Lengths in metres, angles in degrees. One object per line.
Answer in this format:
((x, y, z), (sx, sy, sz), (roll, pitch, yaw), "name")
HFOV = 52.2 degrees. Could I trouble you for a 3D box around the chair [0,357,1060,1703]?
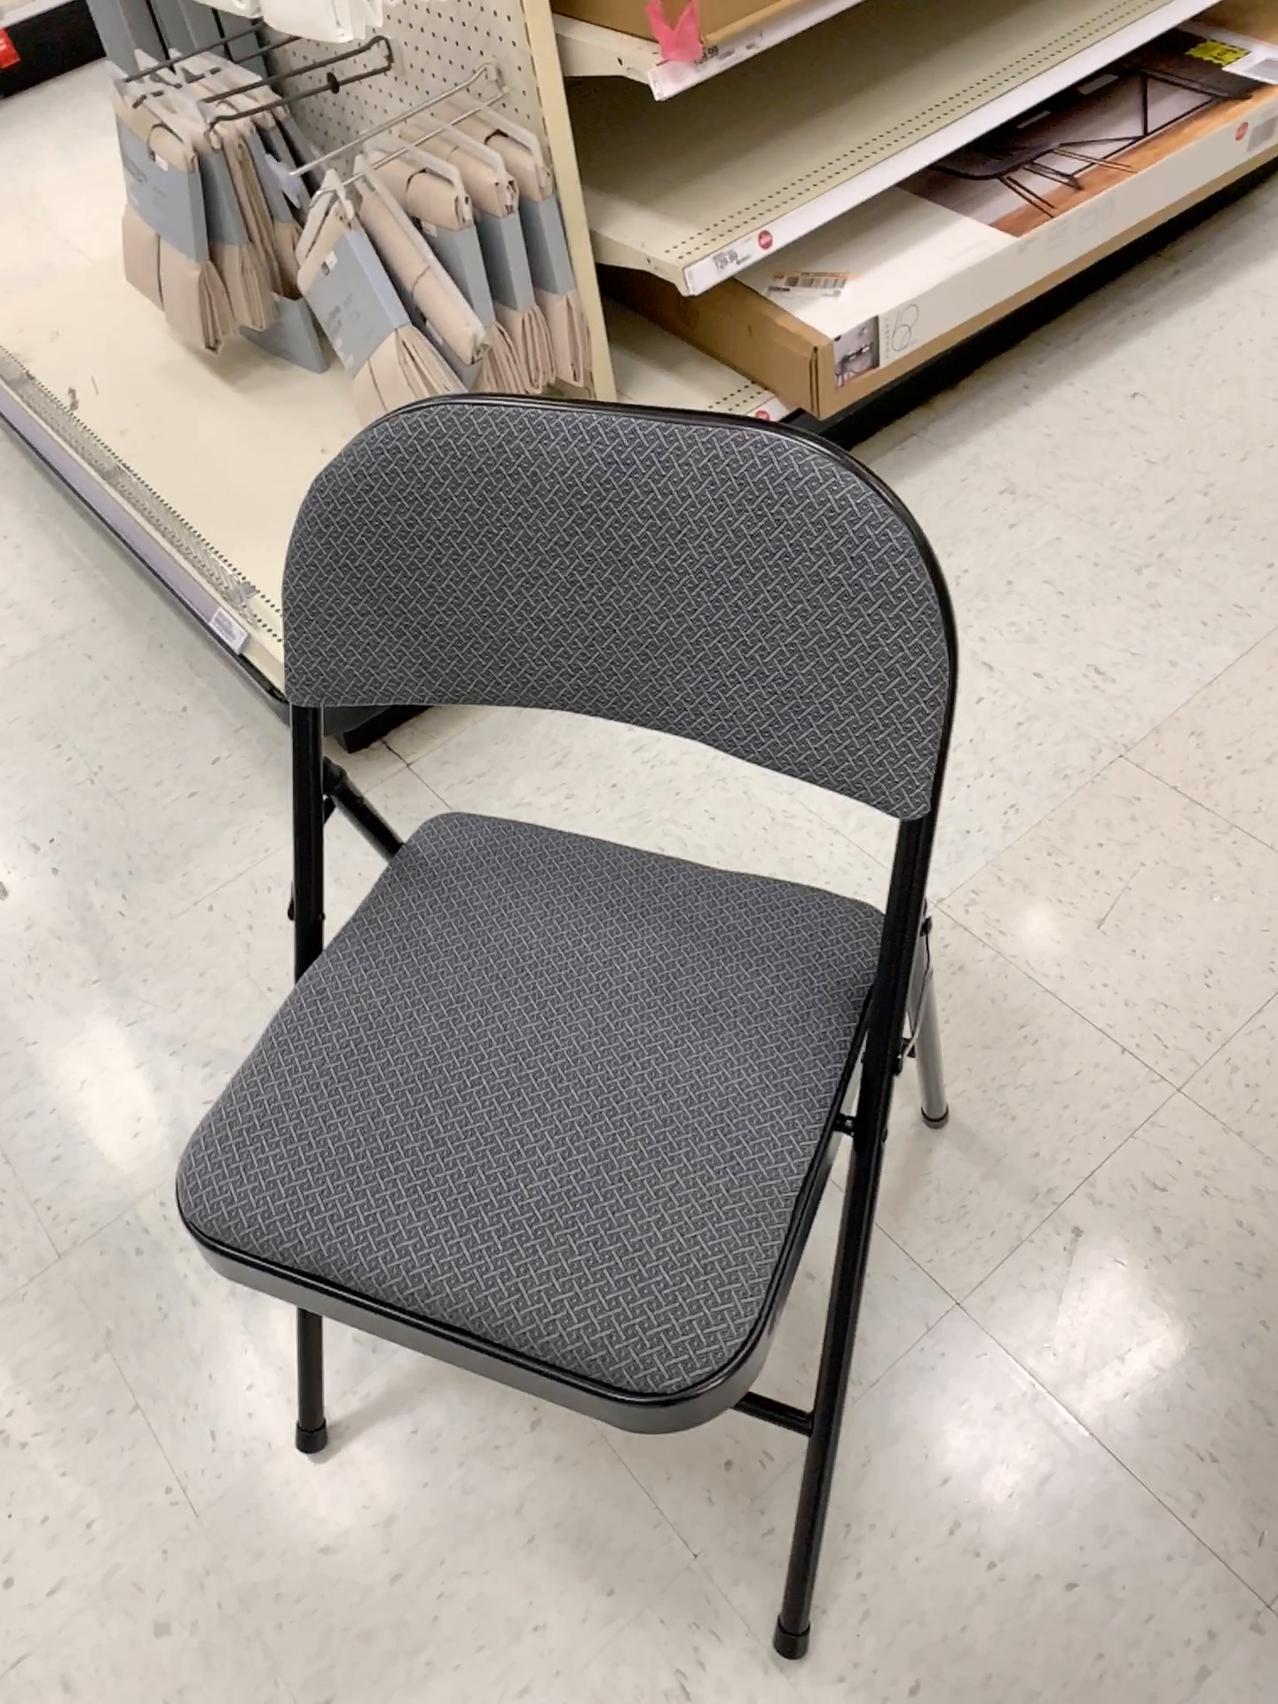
((-0.054, 0.139, 0.898), (0.501, 0.677, 0.552), (12, 55, 19), "chair")
